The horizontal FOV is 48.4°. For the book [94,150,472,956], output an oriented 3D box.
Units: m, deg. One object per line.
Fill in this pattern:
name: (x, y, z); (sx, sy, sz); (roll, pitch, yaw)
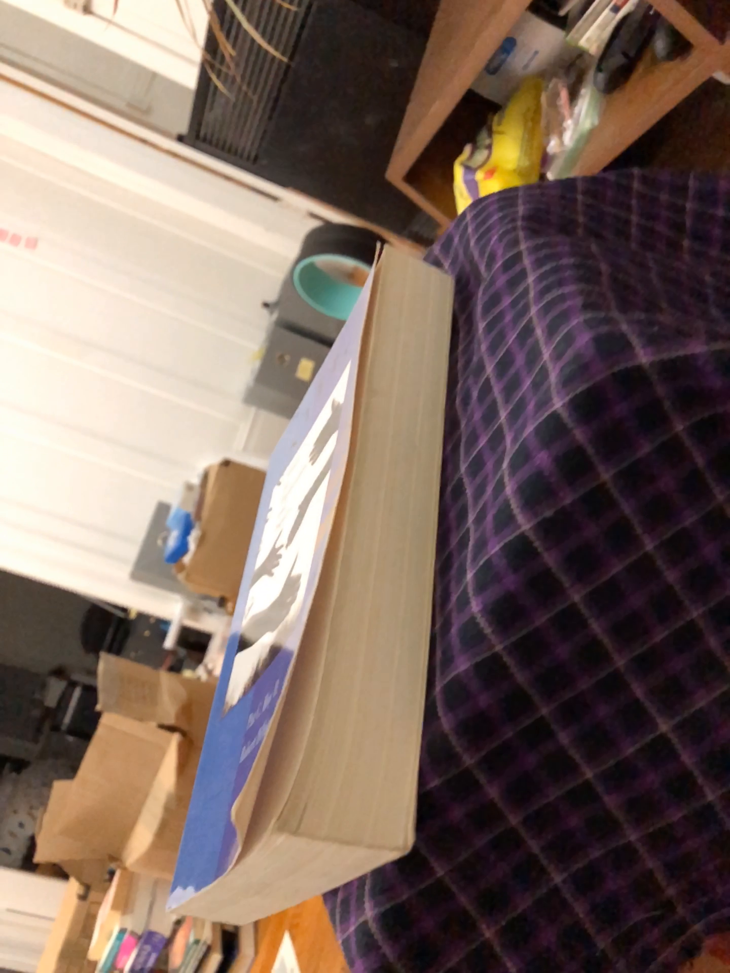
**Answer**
book: (-0.031, 0.028, 0.323); (0.200, 0.040, 0.261); (128, 157, -49)
